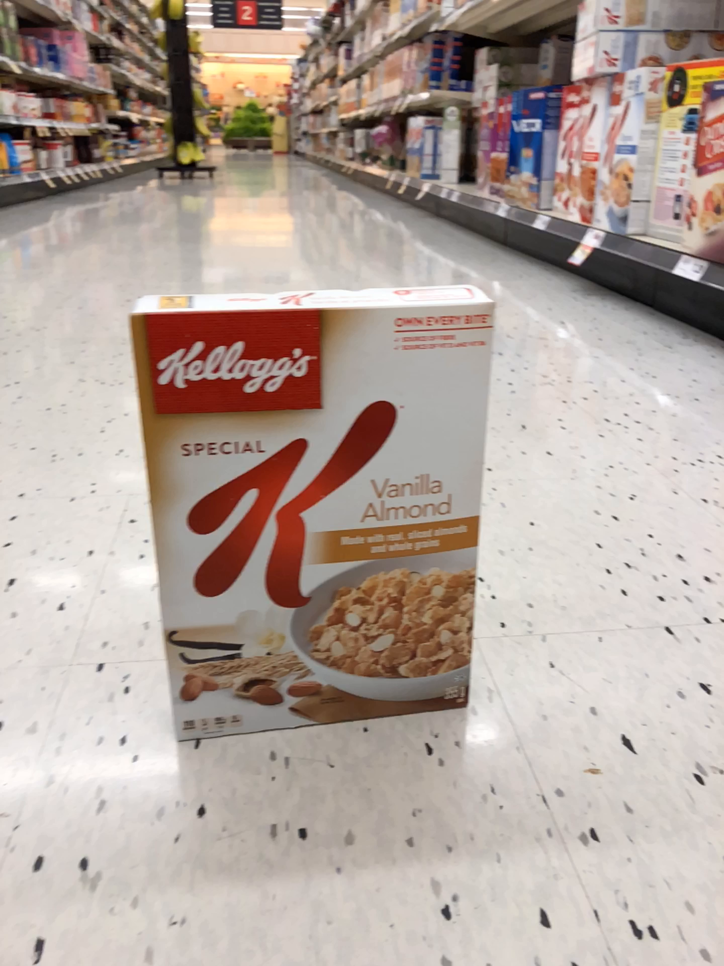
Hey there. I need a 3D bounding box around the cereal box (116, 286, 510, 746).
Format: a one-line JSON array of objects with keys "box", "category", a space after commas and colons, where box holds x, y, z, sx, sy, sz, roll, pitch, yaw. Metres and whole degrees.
[{"box": [-0.026, 0.021, 0.471, 0.200, 0.259, 0.050, -3, 21, -10], "category": "cereal box"}]
